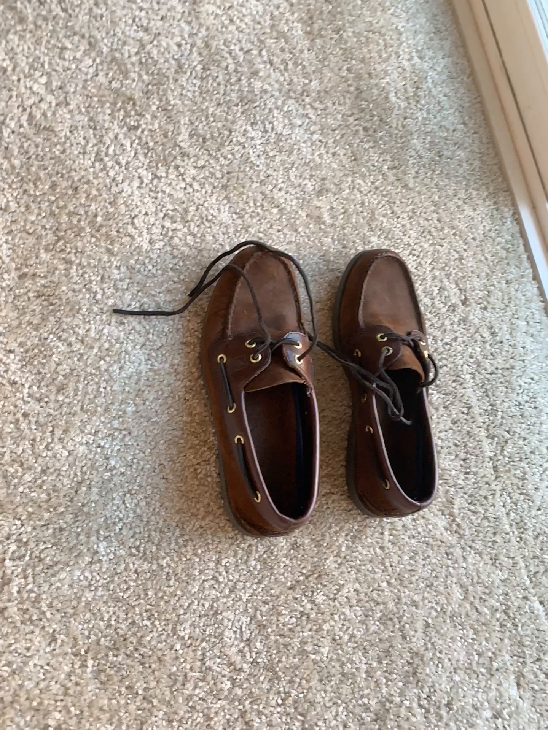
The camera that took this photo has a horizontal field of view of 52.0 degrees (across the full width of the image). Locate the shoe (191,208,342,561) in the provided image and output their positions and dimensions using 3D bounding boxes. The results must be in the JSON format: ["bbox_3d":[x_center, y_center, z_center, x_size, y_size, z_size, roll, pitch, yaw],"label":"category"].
[{"bbox_3d":[-0.015,0.018,0.566,0.100,0.100,0.320,-1,80,-21],"label":"shoe"}]

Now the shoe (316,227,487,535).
[{"bbox_3d":[0.130,0.017,0.605,0.110,0.100,0.300,-1,80,-21],"label":"shoe"}]
